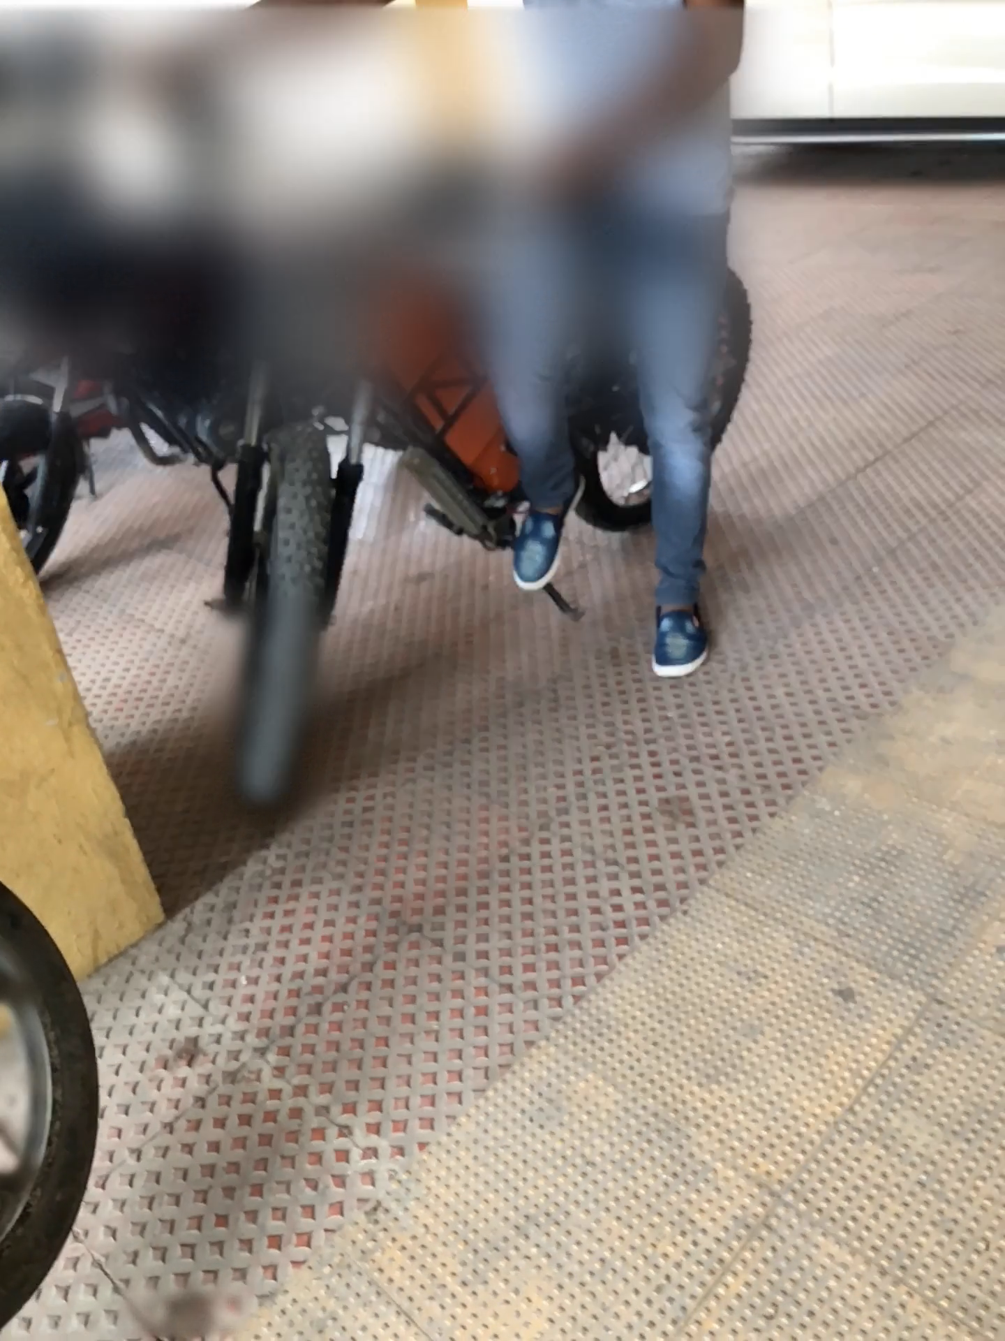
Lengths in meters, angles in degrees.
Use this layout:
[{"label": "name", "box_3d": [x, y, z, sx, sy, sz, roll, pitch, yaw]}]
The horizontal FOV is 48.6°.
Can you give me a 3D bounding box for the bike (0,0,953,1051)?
[{"label": "bike", "box_3d": [0.157, -0.511, 2.169, 0.754, 1.184, 1.757, 16, 43, 35]}]
